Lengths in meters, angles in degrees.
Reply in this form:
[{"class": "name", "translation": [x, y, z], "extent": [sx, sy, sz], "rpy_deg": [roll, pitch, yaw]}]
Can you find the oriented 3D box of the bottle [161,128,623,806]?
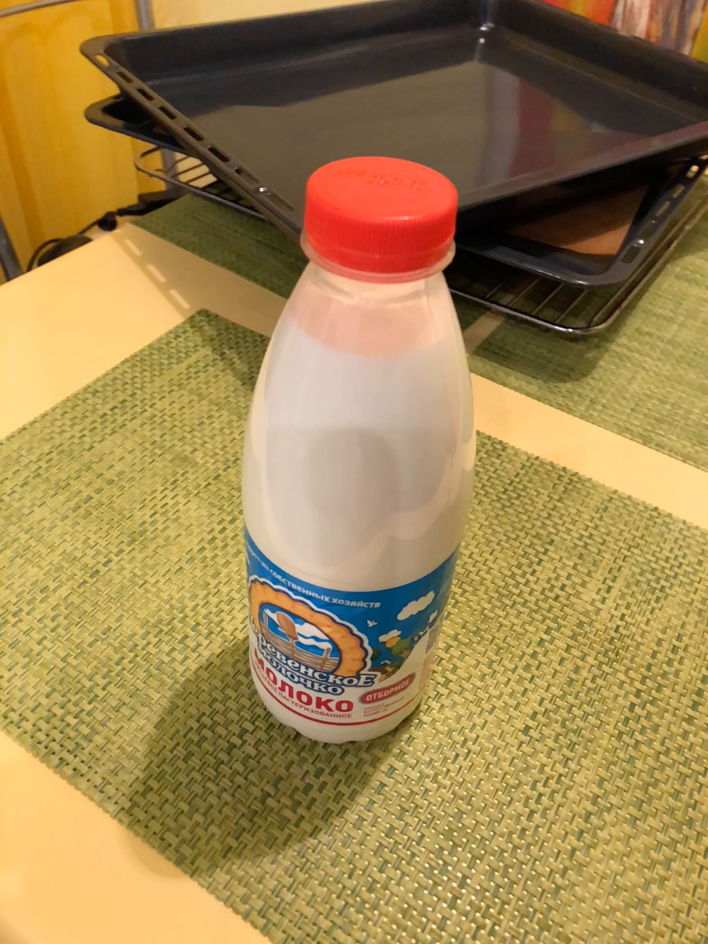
[{"class": "bottle", "translation": [0.007, 0.012, 0.281], "extent": [0.090, 0.218, 0.091], "rpy_deg": [3, 44, -3]}]
